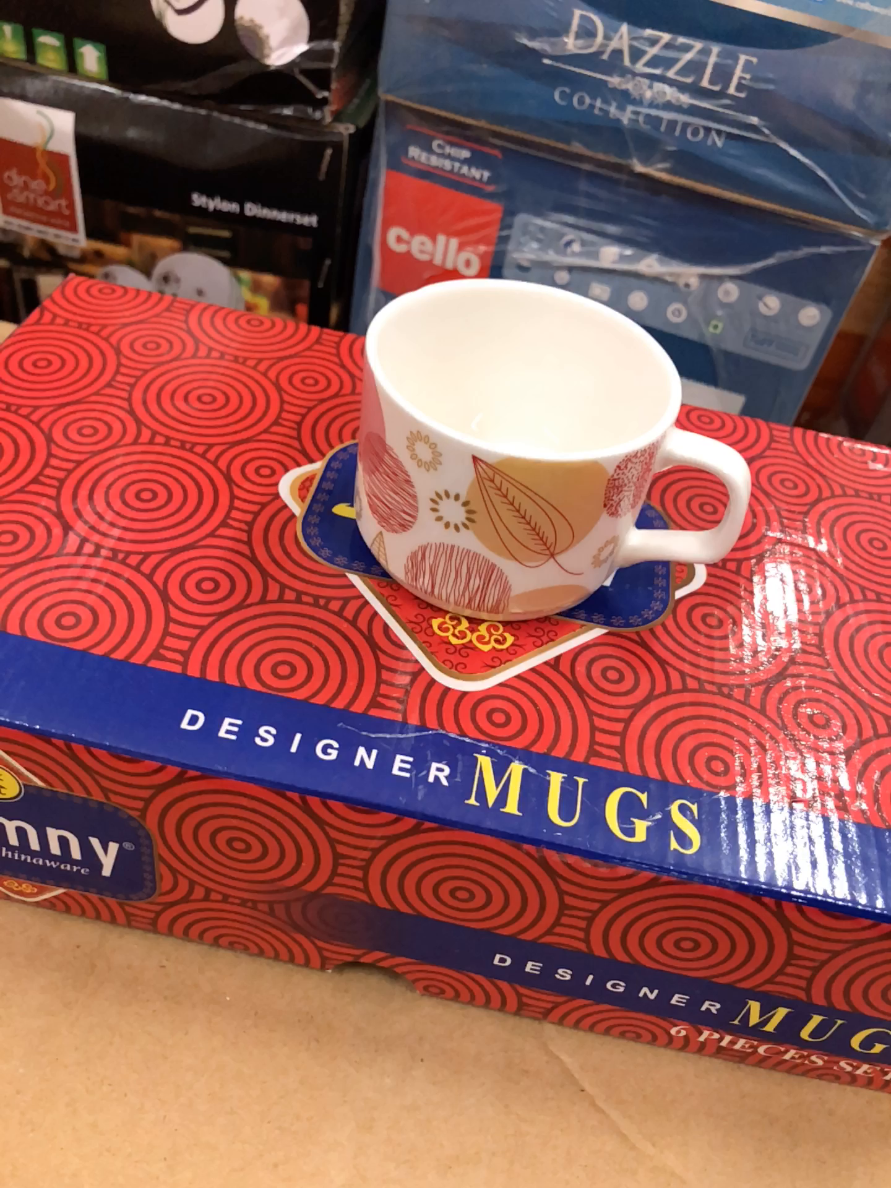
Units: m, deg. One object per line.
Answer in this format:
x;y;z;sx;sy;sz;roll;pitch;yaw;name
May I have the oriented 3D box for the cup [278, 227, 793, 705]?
0.020;-0.030;0.215;0.090;0.050;0.070;17;43;4;cup
